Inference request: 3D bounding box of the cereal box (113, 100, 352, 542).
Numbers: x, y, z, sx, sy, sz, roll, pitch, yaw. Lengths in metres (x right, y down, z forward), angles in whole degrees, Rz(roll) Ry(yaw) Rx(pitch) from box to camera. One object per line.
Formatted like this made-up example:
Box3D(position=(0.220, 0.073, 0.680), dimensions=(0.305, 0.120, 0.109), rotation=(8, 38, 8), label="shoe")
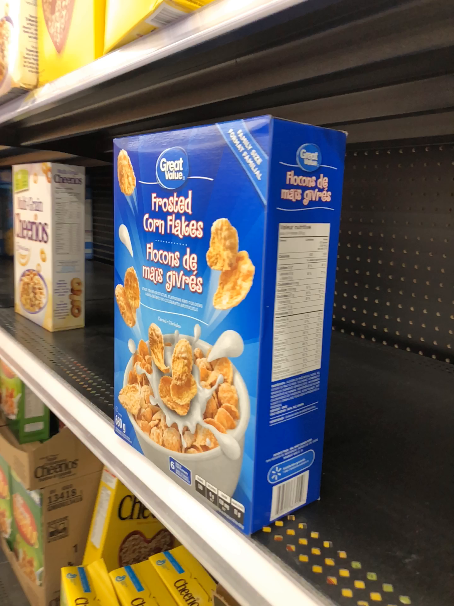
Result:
Box3D(position=(-0.014, 0.002, 0.446), dimensions=(0.080, 0.309, 0.211), rotation=(-6, 13, -40), label="cereal box")
